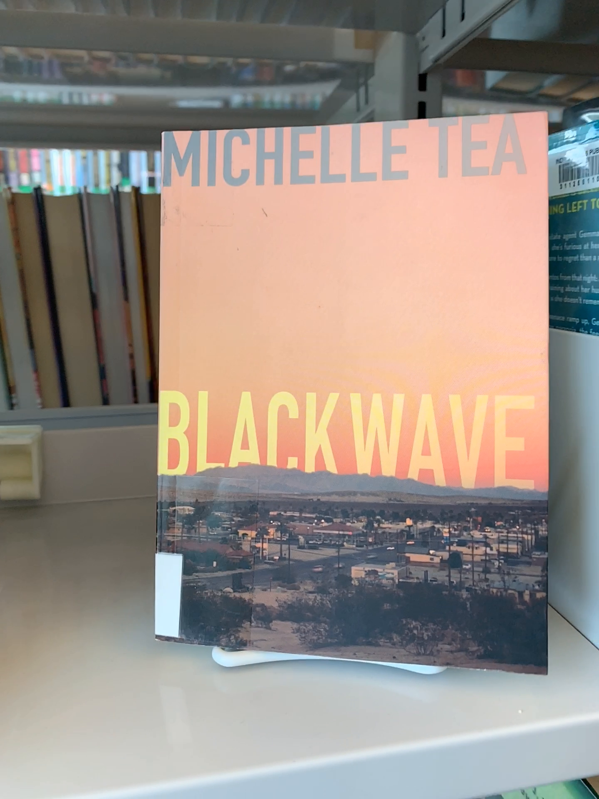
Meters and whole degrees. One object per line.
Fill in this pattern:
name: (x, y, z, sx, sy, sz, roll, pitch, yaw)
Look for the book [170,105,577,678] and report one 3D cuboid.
book: (0.026, -0.005, 0.250, 0.147, 0.201, 0.036, 1, 0, 10)
